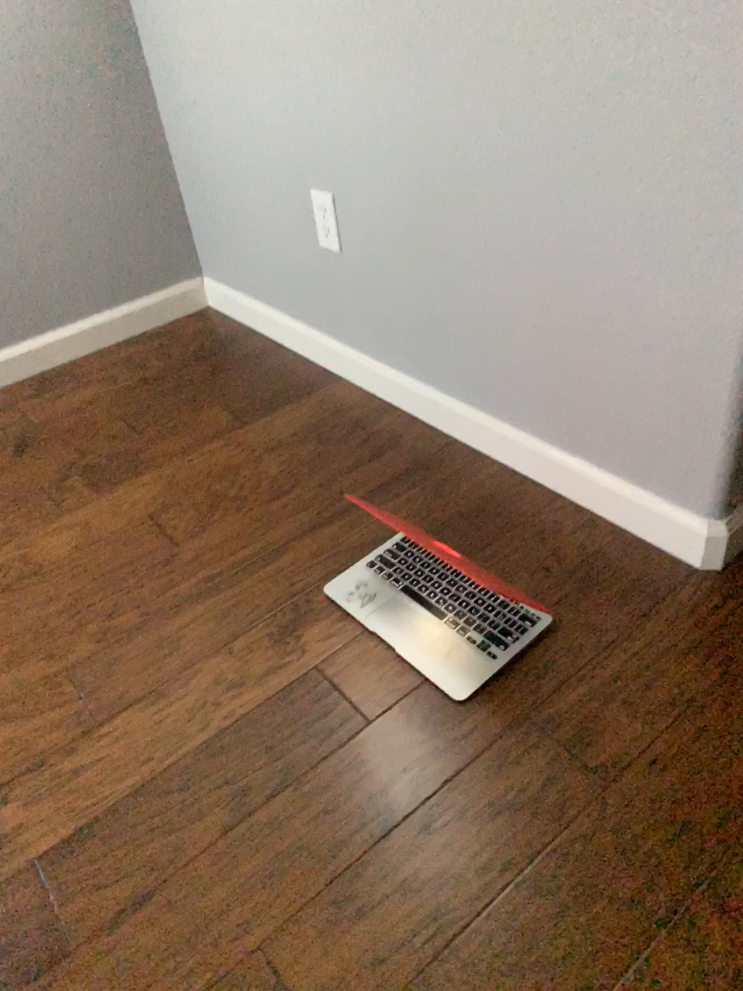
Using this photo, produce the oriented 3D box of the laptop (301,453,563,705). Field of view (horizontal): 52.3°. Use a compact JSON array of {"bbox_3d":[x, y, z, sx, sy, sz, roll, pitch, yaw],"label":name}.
[{"bbox_3d":[0.081,0.100,1.057,0.198,0.139,0.302,-32,43,-27],"label":"laptop"}]
